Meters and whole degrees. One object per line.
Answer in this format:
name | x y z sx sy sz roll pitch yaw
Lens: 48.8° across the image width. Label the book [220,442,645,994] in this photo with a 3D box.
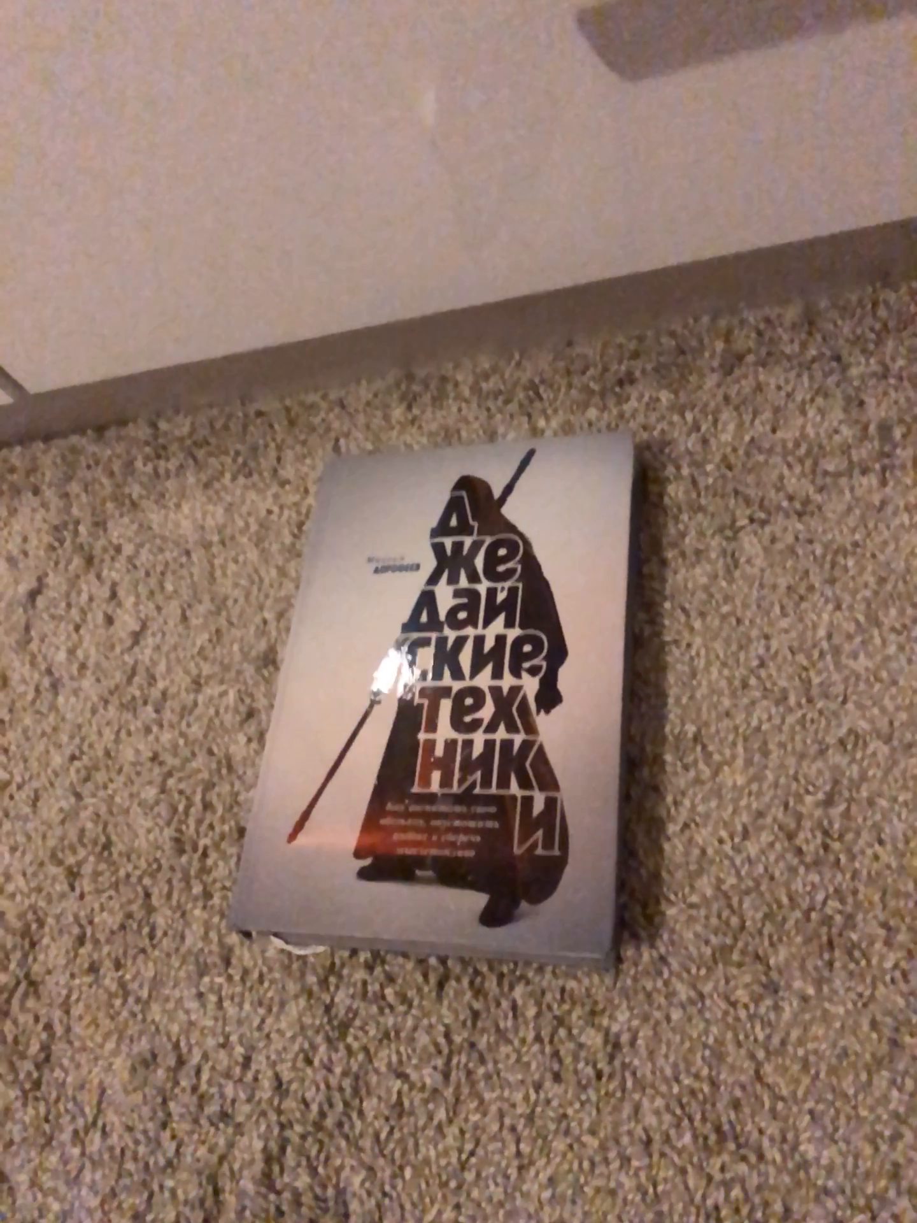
book | -0.003 0.034 0.421 0.150 0.026 0.221 -2 62 19
